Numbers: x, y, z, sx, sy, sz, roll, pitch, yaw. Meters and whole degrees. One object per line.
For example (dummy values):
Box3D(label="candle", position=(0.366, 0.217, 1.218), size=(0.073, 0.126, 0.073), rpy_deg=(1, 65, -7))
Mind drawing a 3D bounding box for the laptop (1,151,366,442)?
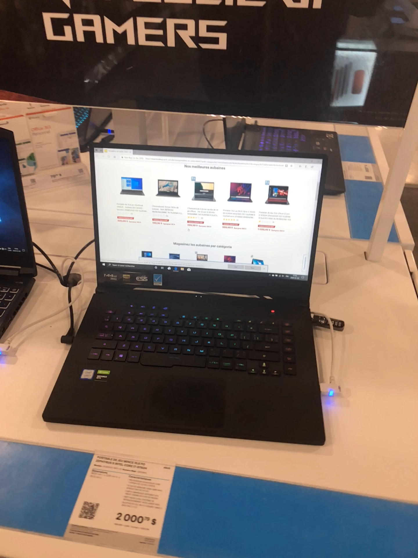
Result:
Box3D(label="laptop", position=(-0.014, -0.001, 0.608), size=(0.340, 0.207, 0.316), rpy_deg=(4, 39, 5))
